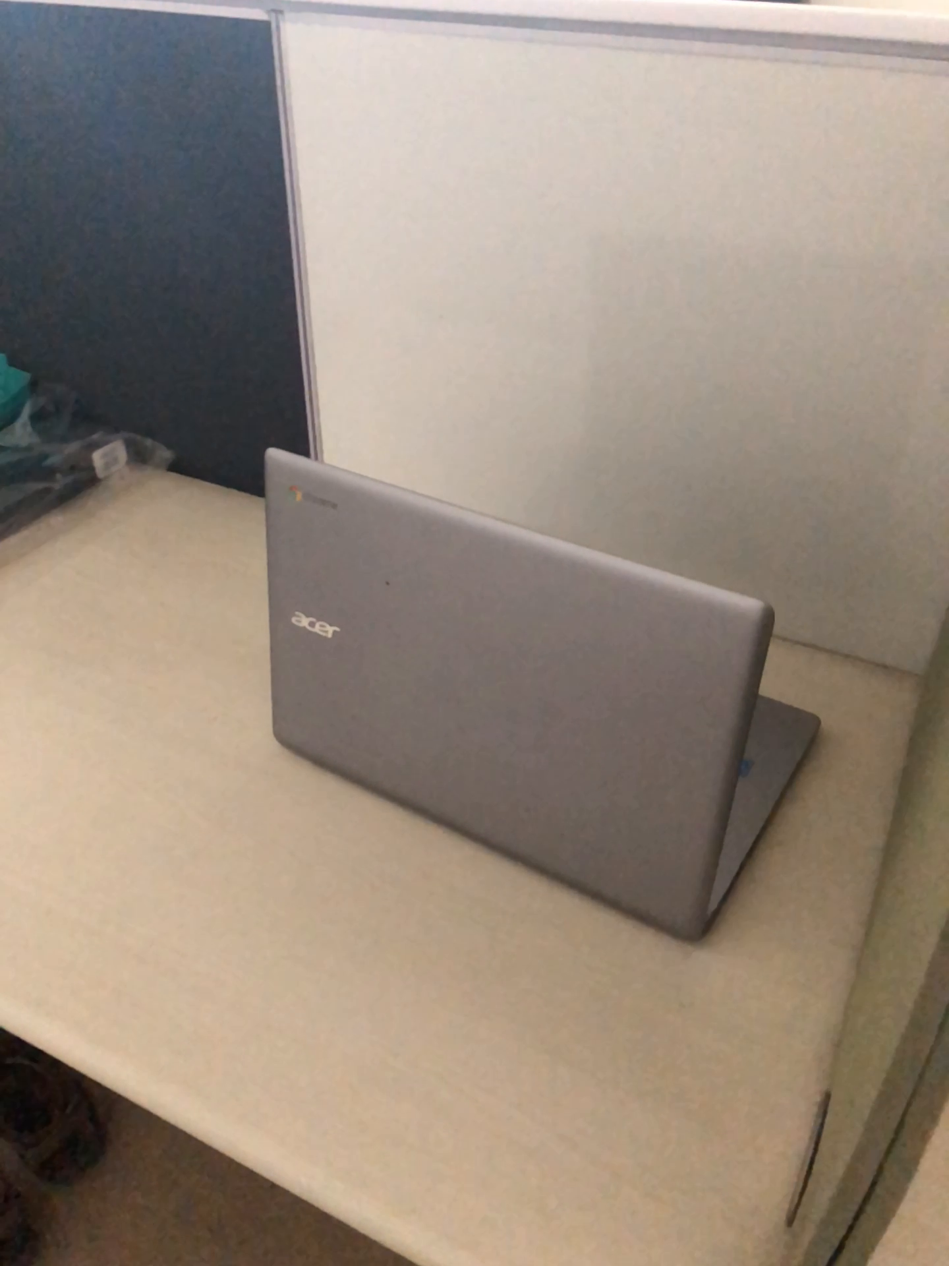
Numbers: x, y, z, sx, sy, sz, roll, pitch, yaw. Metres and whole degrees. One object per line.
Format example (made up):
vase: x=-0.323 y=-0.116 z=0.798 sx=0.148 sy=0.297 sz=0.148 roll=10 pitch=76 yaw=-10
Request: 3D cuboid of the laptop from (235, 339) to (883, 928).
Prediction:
laptop: x=0.056 y=-0.020 z=0.702 sx=0.321 sy=0.218 sz=0.222 roll=21 pitch=41 yaw=24
